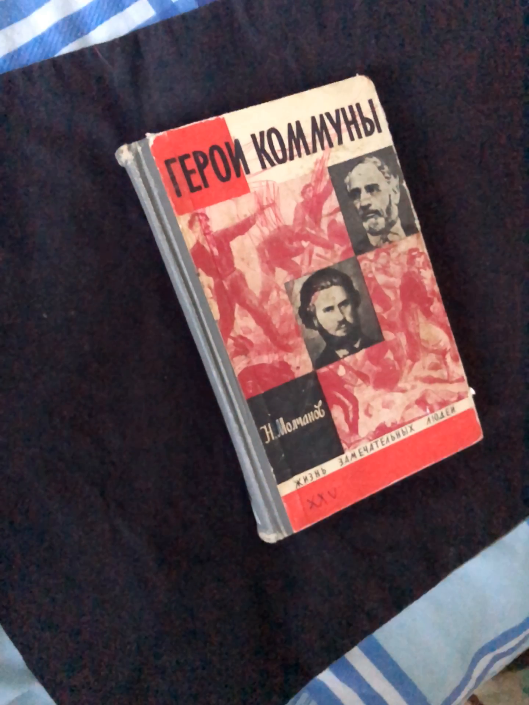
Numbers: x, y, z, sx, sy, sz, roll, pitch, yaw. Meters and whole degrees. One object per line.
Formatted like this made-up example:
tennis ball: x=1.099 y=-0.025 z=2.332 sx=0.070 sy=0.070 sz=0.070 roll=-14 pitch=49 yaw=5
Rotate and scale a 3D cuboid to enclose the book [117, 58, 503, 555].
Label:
book: x=0.024 y=-0.023 z=0.307 sx=0.128 sy=0.060 sz=0.201 roll=-23 pitch=100 yaw=-13
